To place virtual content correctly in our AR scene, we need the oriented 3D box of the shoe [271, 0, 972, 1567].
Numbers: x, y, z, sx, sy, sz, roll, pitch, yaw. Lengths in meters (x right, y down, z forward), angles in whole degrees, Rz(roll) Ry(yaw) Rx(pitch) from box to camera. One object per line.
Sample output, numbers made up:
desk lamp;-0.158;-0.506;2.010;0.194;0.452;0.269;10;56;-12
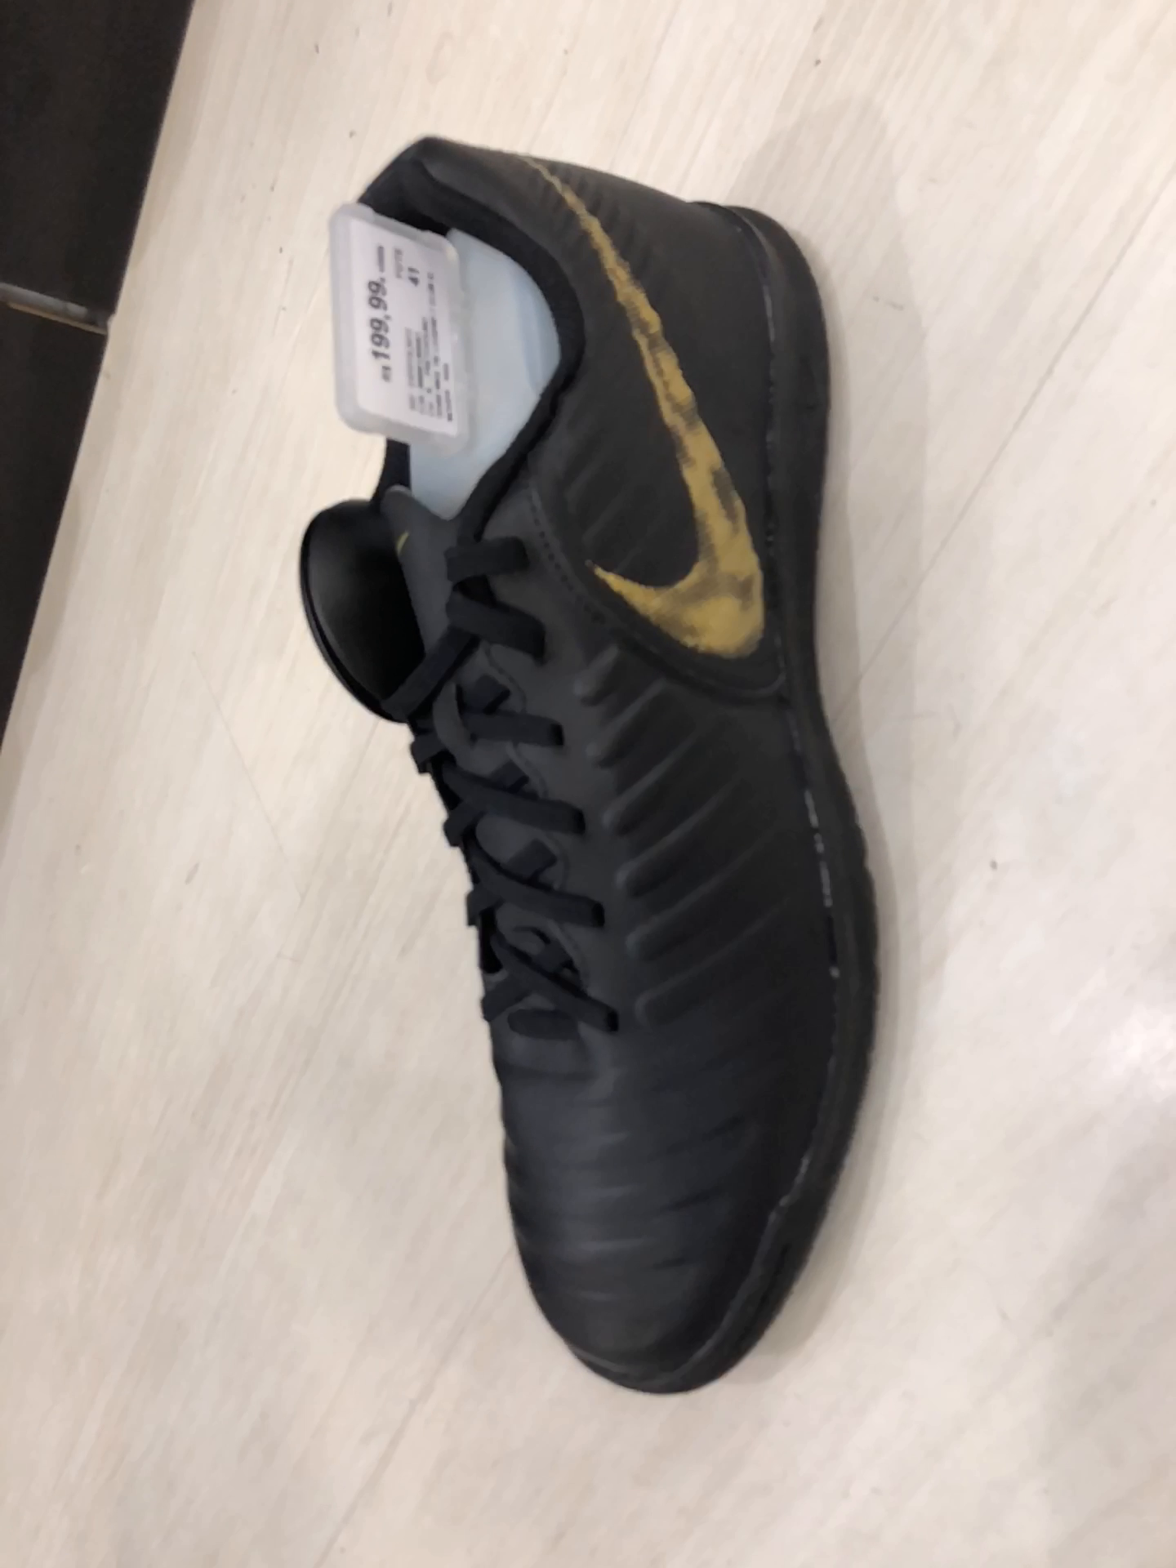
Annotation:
shoe;0.007;-0.004;0.291;0.101;0.109;0.290;-9;78;53
